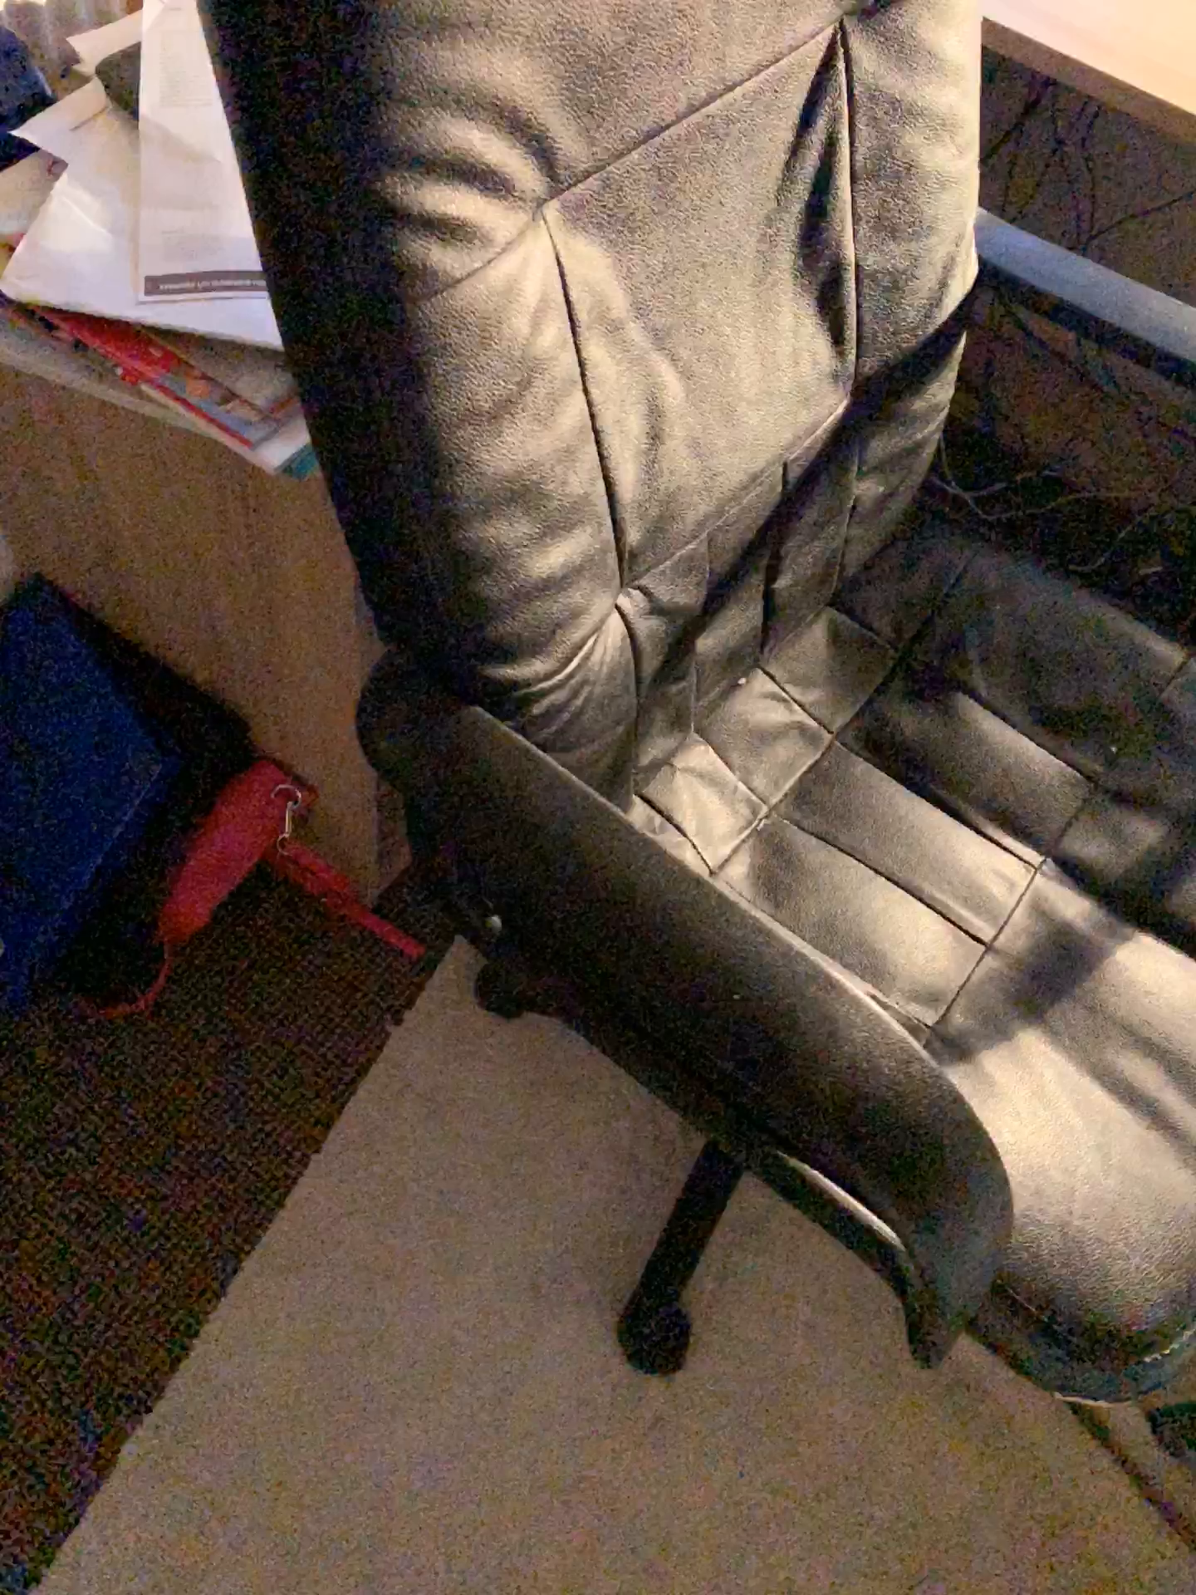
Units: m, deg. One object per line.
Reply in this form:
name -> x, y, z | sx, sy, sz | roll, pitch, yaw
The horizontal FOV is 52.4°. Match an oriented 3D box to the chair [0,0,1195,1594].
chair -> 0.244, -0.013, 0.809 | 0.651, 1.163, 0.714 | 33, 62, 16
